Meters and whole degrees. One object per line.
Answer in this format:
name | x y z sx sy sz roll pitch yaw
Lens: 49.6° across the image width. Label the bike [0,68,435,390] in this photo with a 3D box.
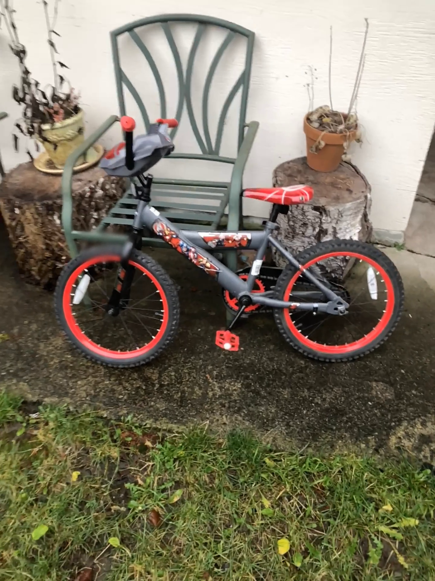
bike | 0.048 -0.174 1.598 1.199 0.853 0.604 0 41 4
